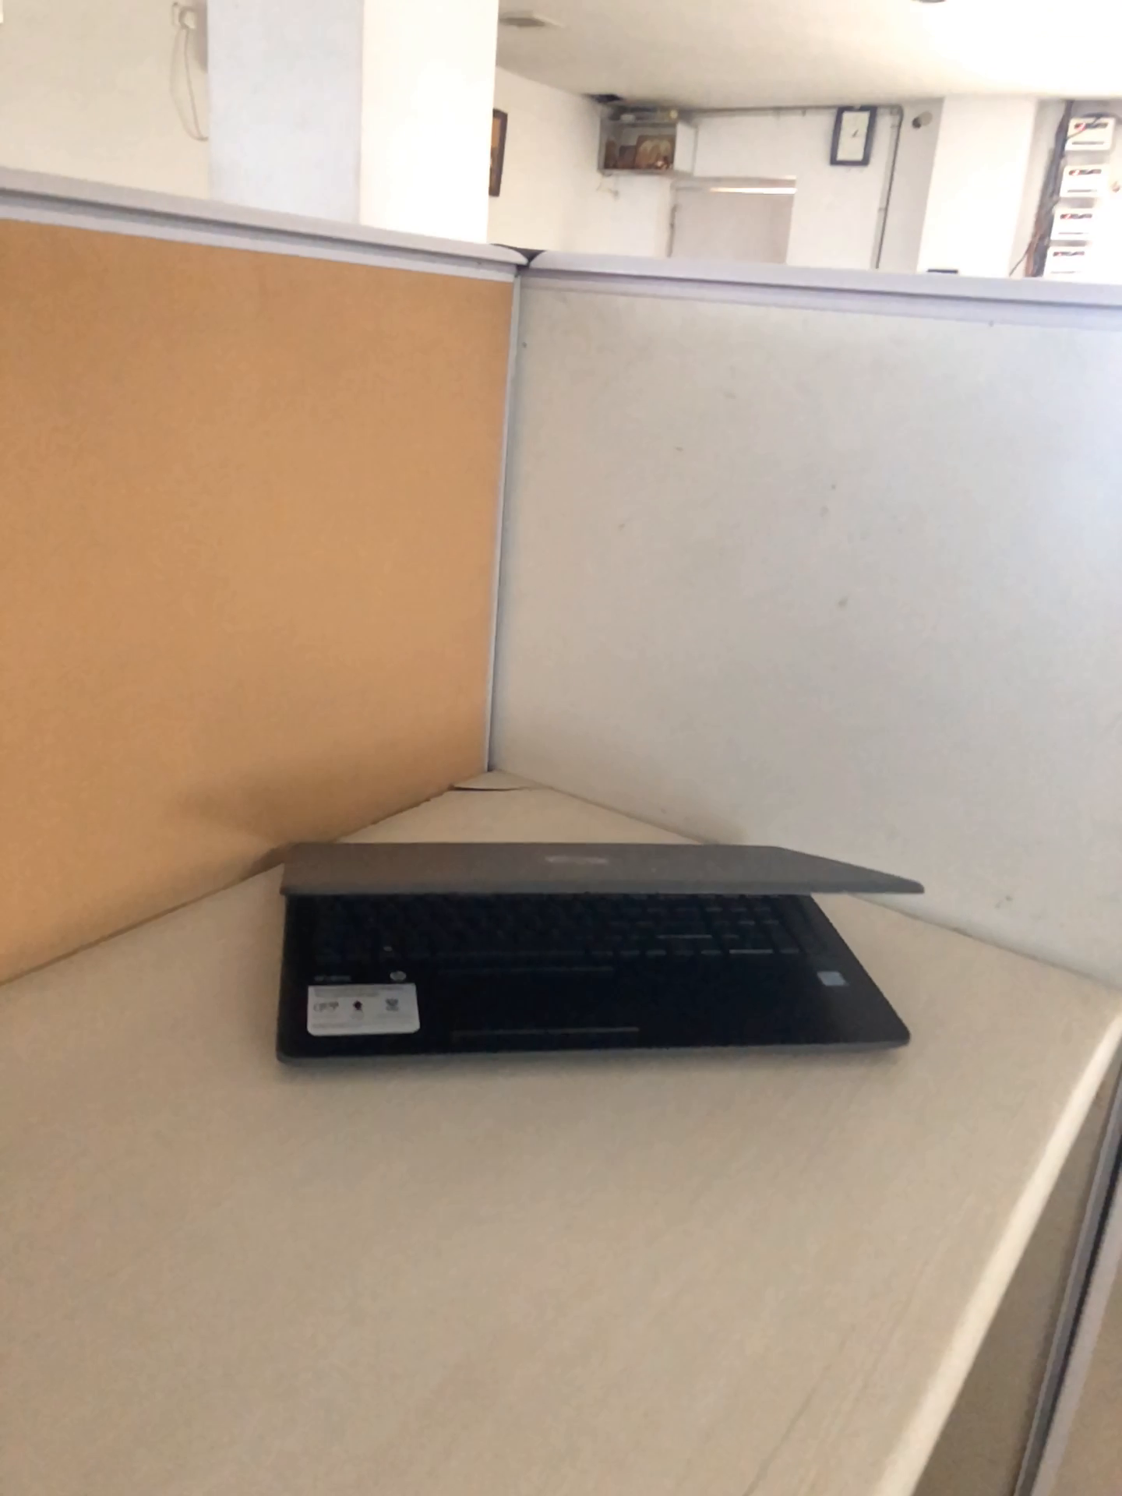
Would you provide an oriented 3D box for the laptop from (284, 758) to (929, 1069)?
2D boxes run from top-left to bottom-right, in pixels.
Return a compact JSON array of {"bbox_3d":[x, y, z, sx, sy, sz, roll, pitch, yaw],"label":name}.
[{"bbox_3d":[0.009,0.093,0.791,0.362,0.074,0.238,1,23,-11],"label":"laptop"}]
